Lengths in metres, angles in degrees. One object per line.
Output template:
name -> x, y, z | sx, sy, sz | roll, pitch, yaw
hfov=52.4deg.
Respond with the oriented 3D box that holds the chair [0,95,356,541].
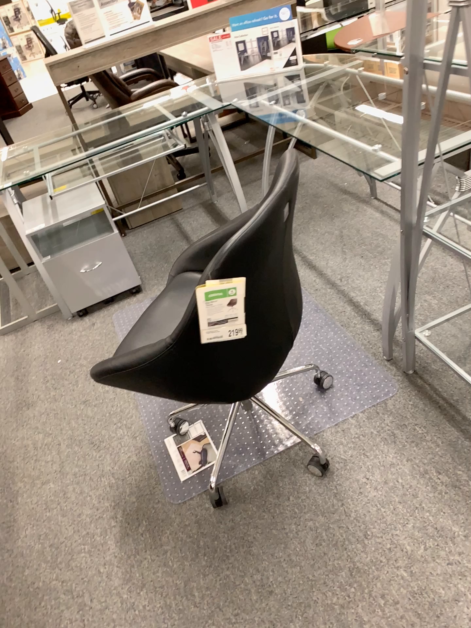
chair -> -0.091, 0.007, 1.328 | 0.622, 0.885, 0.672 | 5, 43, 27
